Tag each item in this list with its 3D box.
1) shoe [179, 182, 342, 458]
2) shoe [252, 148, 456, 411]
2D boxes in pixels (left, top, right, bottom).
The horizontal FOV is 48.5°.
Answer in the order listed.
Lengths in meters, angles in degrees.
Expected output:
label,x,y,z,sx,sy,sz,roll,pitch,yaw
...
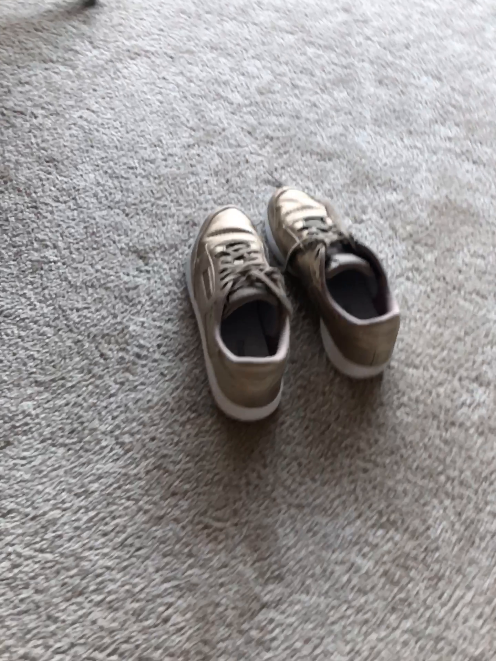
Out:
label,x,y,z,sx,sy,sz,roll,pitch,yaw
shoe,-0.001,-0.023,0.564,0.110,0.070,0.280,-5,60,-11
shoe,0.098,-0.066,0.586,0.110,0.070,0.280,-10,61,-13
